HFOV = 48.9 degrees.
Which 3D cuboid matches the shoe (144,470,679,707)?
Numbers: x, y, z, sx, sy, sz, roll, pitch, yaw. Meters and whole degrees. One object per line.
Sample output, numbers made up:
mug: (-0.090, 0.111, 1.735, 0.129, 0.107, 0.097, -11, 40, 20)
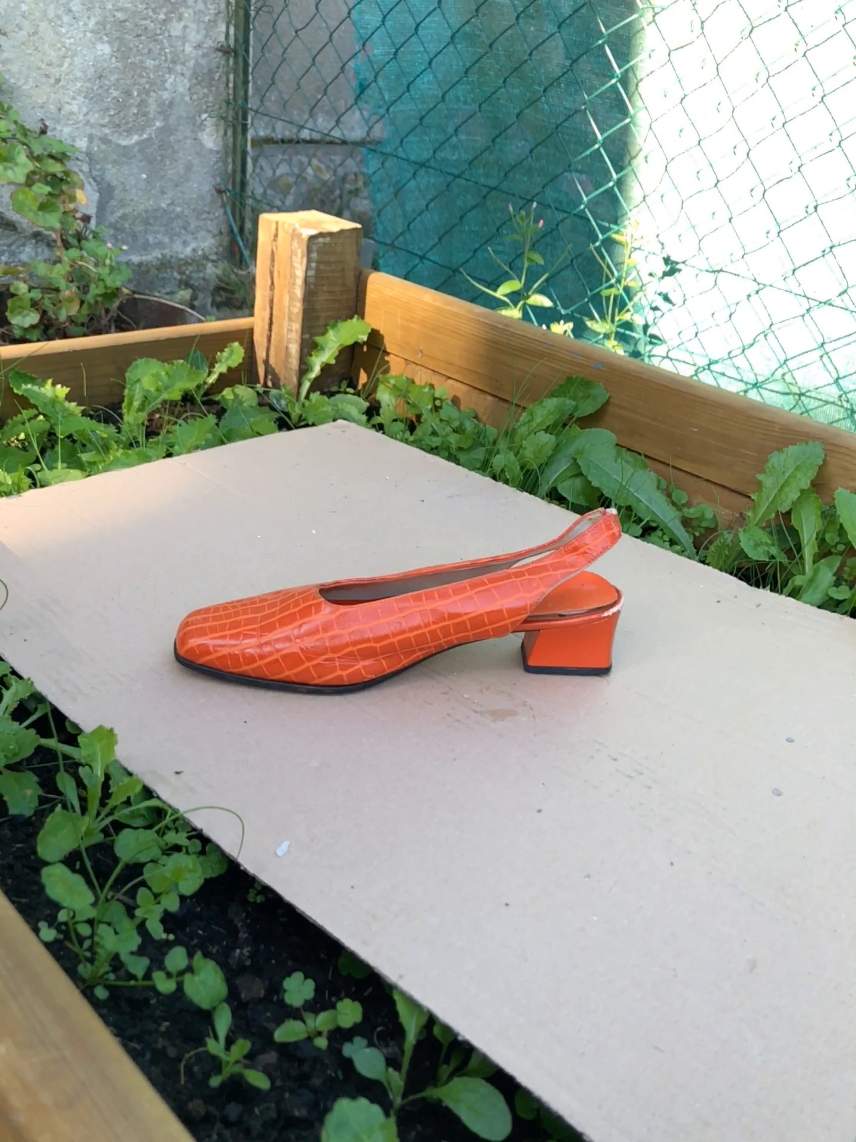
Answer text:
shoe: (-0.012, 0.009, 0.513, 0.260, 0.089, 0.090, 1, 30, -9)
